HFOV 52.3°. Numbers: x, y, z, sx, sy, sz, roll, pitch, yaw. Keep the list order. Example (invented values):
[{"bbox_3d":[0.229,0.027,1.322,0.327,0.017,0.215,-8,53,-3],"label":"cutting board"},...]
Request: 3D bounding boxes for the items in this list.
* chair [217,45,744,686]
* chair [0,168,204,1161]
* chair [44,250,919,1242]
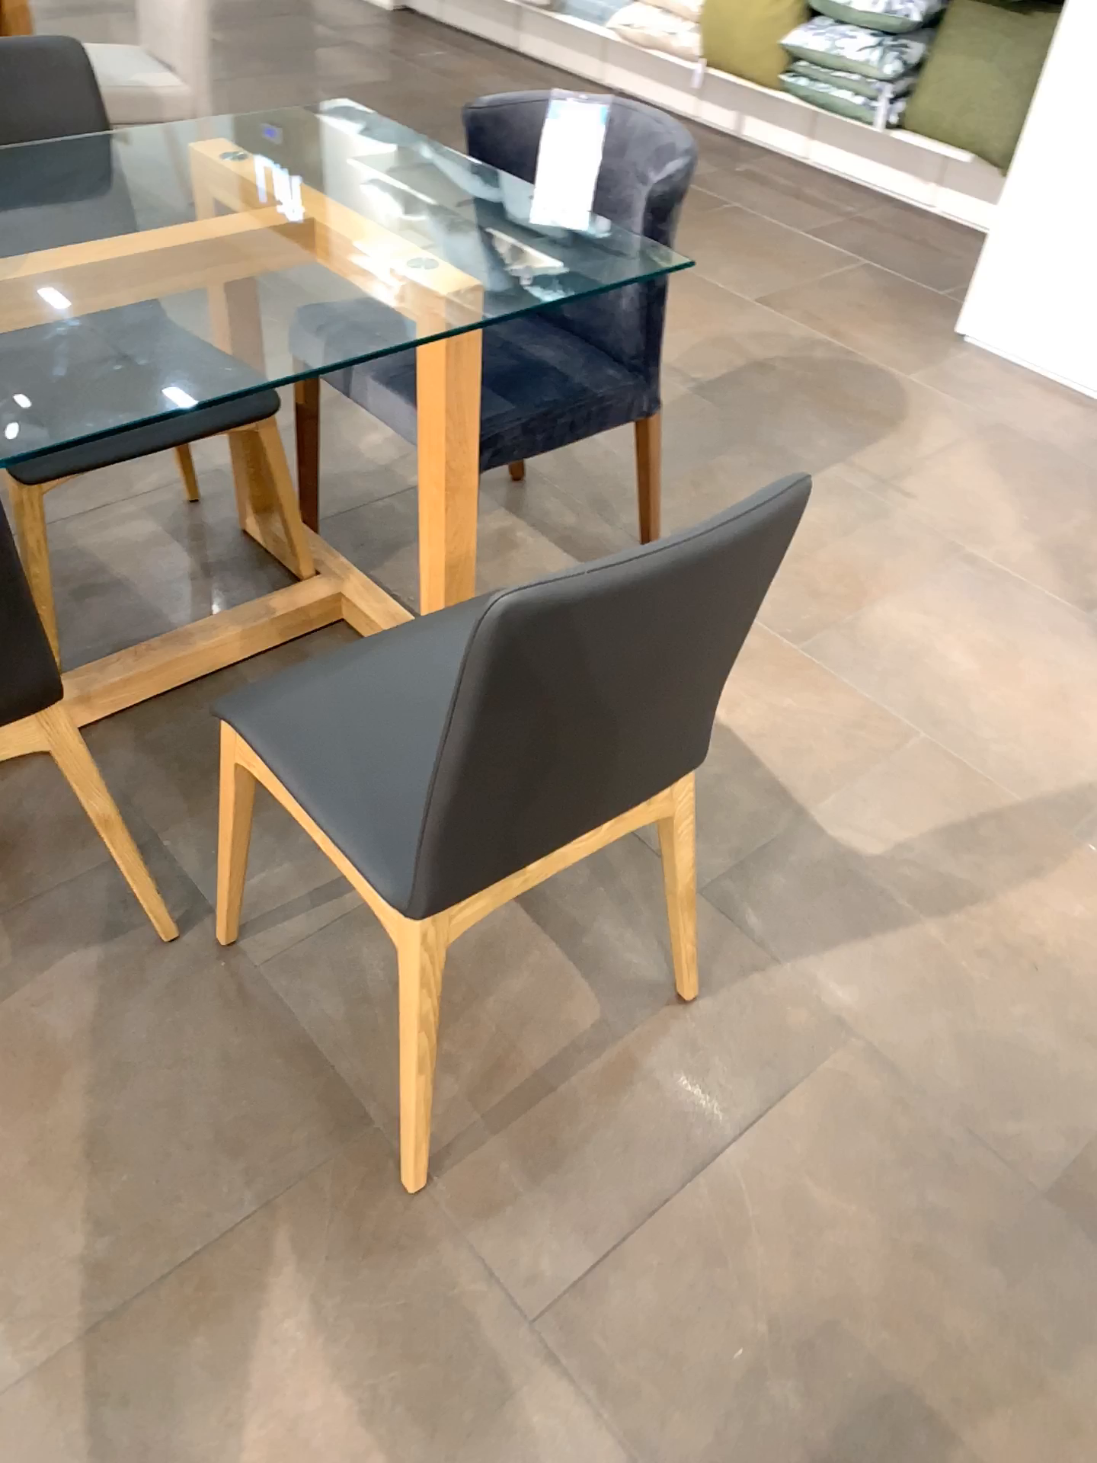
[{"bbox_3d":[-0.124,-0.651,1.970,0.545,0.813,0.589,35,50,28],"label":"chair"},{"bbox_3d":[-0.800,-0.067,1.240,0.525,0.833,0.499,-29,53,-32],"label":"chair"},{"bbox_3d":[-0.091,0.011,1.260,0.565,0.813,0.539,-26,51,-30],"label":"chair"}]
